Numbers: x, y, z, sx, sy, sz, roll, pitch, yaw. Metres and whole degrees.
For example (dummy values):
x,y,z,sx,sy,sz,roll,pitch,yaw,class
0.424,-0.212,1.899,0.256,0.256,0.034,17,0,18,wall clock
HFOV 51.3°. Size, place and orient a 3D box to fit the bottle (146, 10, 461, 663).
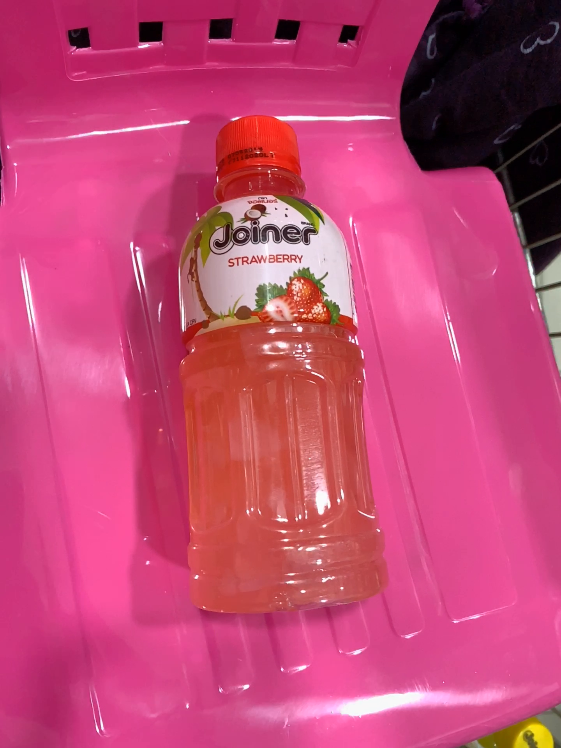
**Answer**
x,y,z,sx,sy,sz,roll,pitch,yaw,class
-0.001,-0.011,0.184,0.070,0.070,0.160,-2,84,-16,bottle
